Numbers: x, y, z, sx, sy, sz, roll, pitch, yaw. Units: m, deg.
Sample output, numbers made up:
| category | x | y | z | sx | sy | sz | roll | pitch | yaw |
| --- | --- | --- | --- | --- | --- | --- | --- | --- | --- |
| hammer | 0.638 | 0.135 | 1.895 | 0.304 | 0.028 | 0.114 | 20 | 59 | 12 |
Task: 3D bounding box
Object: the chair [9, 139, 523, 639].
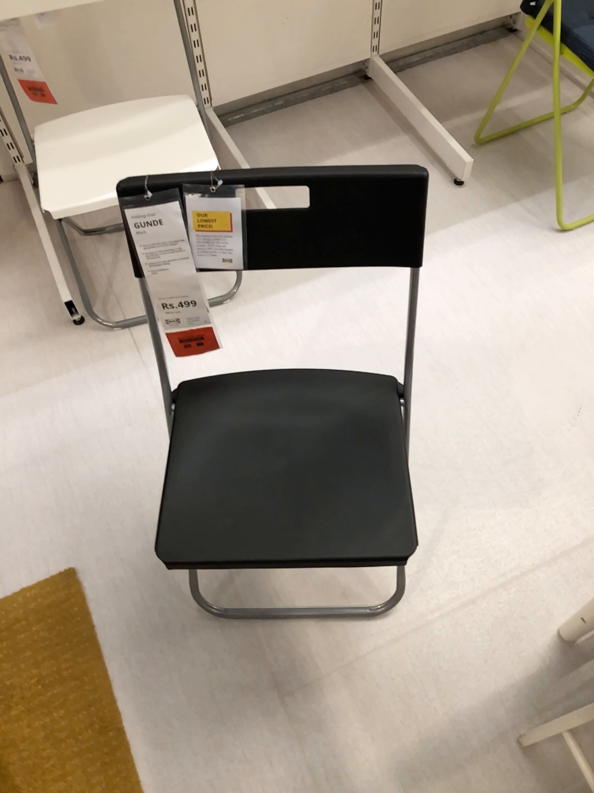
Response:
| category | x | y | z | sx | sy | sz | roll | pitch | yaw |
| --- | --- | --- | --- | --- | --- | --- | --- | --- | --- |
| chair | -0.019 | 0.070 | 1.089 | 0.500 | 0.786 | 0.462 | -2 | 58 | 2 |
